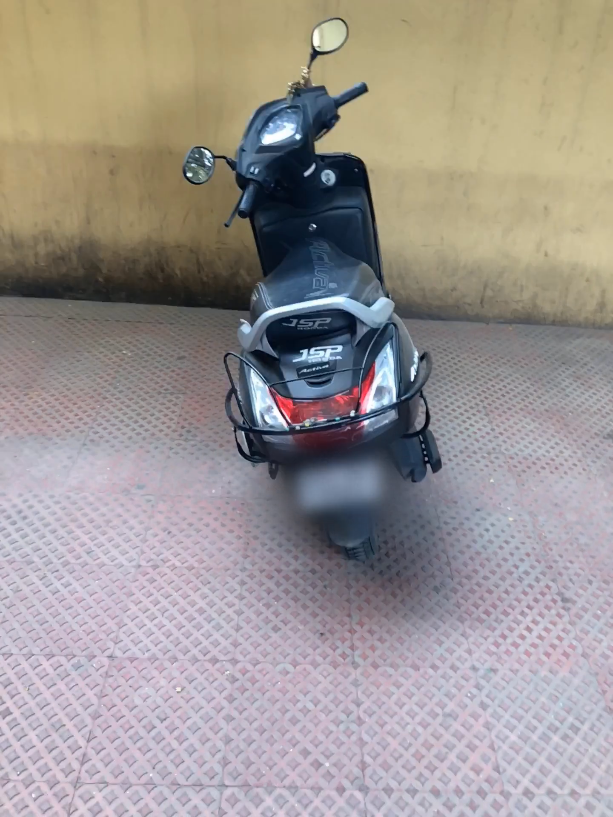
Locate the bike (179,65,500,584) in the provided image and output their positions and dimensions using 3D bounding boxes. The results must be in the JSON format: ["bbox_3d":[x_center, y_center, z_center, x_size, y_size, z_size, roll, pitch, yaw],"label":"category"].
[{"bbox_3d":[-0.034,-0.419,2.163,0.592,1.044,1.593,-1,33,-6],"label":"bike"}]
